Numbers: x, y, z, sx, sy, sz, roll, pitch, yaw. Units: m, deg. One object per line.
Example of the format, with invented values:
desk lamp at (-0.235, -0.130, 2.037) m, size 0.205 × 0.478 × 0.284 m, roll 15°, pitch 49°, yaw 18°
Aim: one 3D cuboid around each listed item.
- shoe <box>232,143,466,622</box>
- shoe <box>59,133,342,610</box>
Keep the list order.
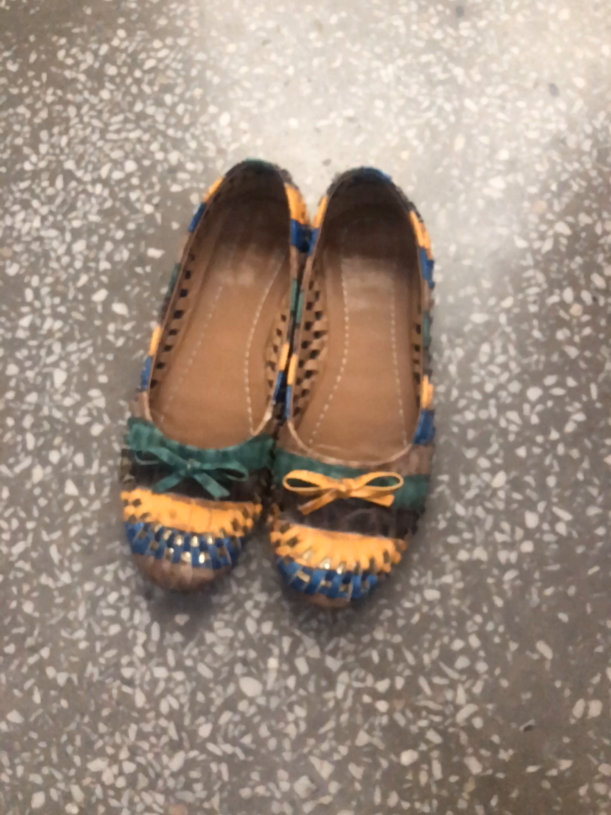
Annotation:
shoe at (0.028, -0.014, 0.376) m, size 0.090 × 0.074 × 0.237 m, roll 6°, pitch 78°, yaw 6°
shoe at (-0.047, -0.020, 0.382) m, size 0.090 × 0.074 × 0.237 m, roll 11°, pitch 78°, yaw 7°
